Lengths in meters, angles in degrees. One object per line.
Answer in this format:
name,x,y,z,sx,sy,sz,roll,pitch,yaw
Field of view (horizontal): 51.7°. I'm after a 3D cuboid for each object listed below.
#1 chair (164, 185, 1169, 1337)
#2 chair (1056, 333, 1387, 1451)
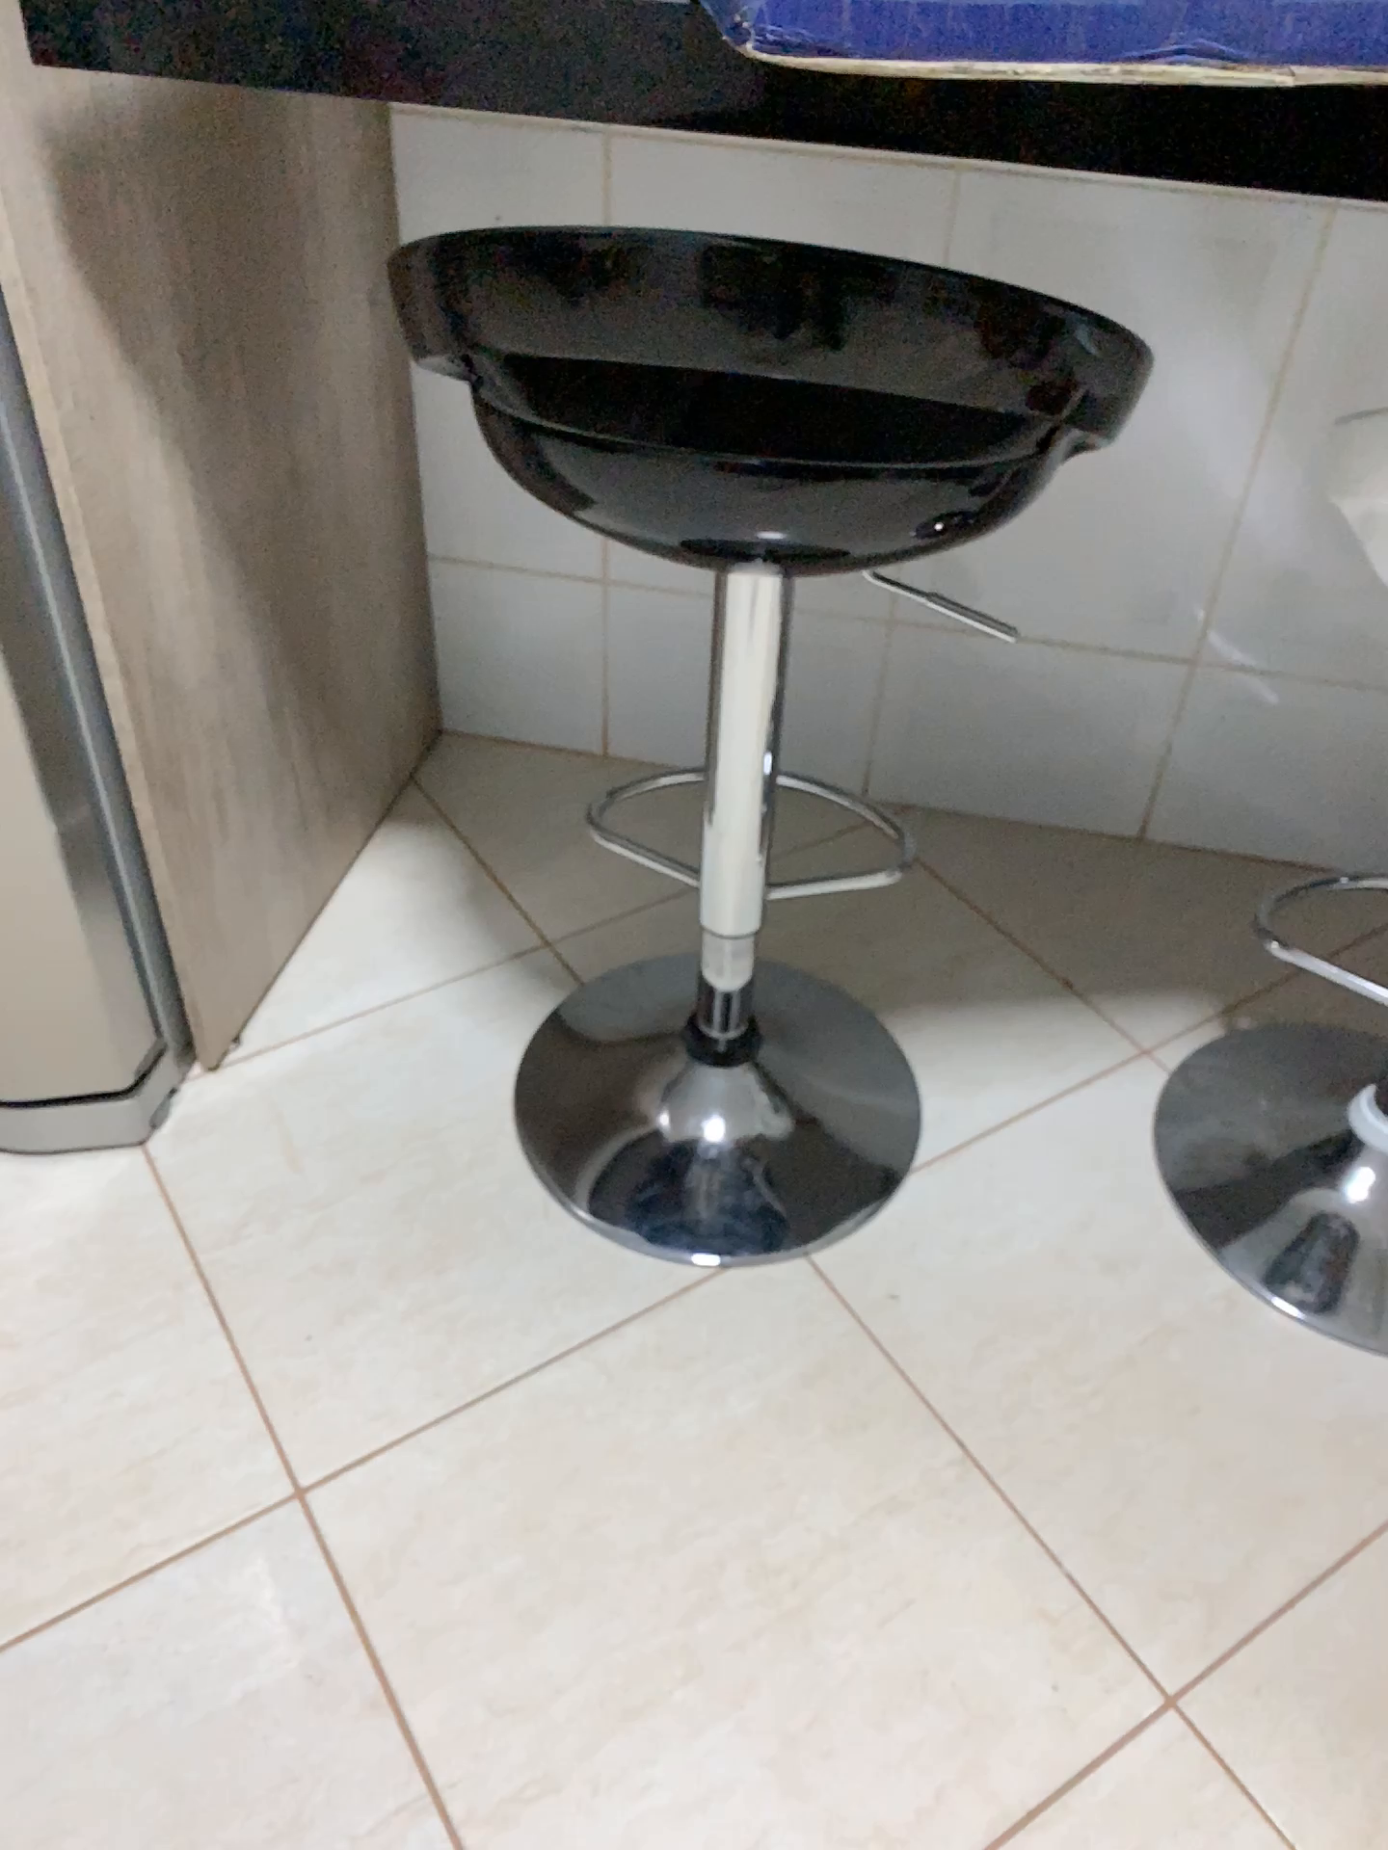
chair,0.004,-0.135,1.231,0.570,0.753,0.515,9,40,7
chair,0.592,-0.018,1.057,0.510,0.634,0.414,9,40,7
